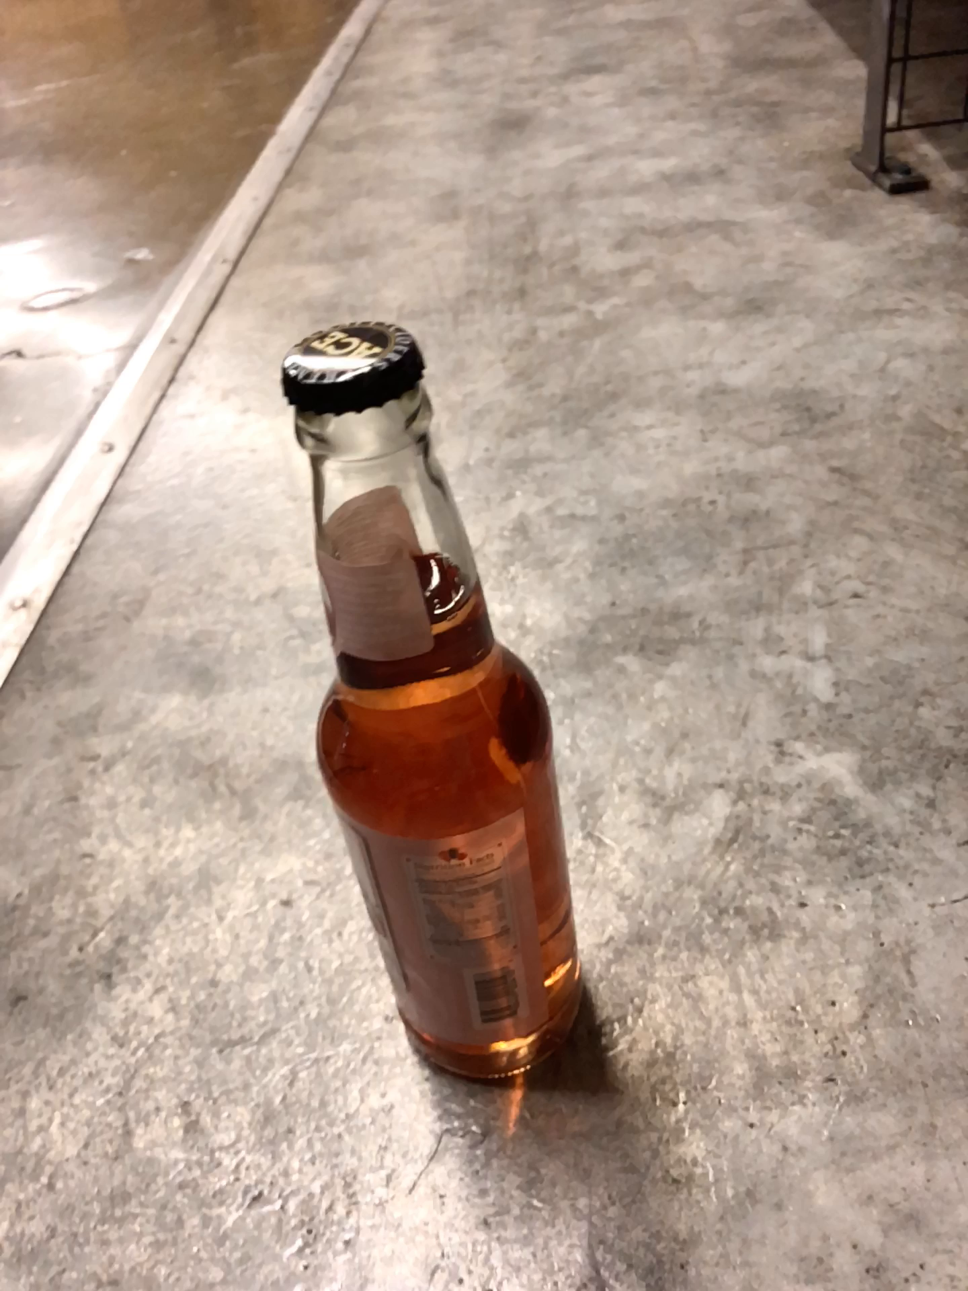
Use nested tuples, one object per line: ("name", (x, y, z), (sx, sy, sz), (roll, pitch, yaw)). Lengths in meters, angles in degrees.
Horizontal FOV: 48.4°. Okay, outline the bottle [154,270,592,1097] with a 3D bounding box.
("bottle", (-0.012, 0.029, 0.274), (0.060, 0.221, 0.062), (-6, 40, 5))
